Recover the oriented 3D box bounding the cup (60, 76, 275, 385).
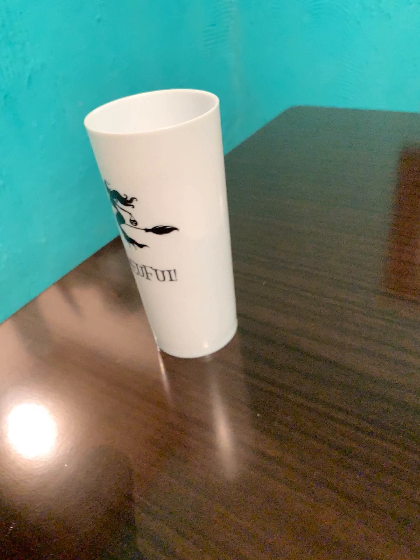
[{"bbox_3d":[-0.012,-0.026,0.251,0.070,0.149,0.070,-5,37,4],"label":"cup"}]
